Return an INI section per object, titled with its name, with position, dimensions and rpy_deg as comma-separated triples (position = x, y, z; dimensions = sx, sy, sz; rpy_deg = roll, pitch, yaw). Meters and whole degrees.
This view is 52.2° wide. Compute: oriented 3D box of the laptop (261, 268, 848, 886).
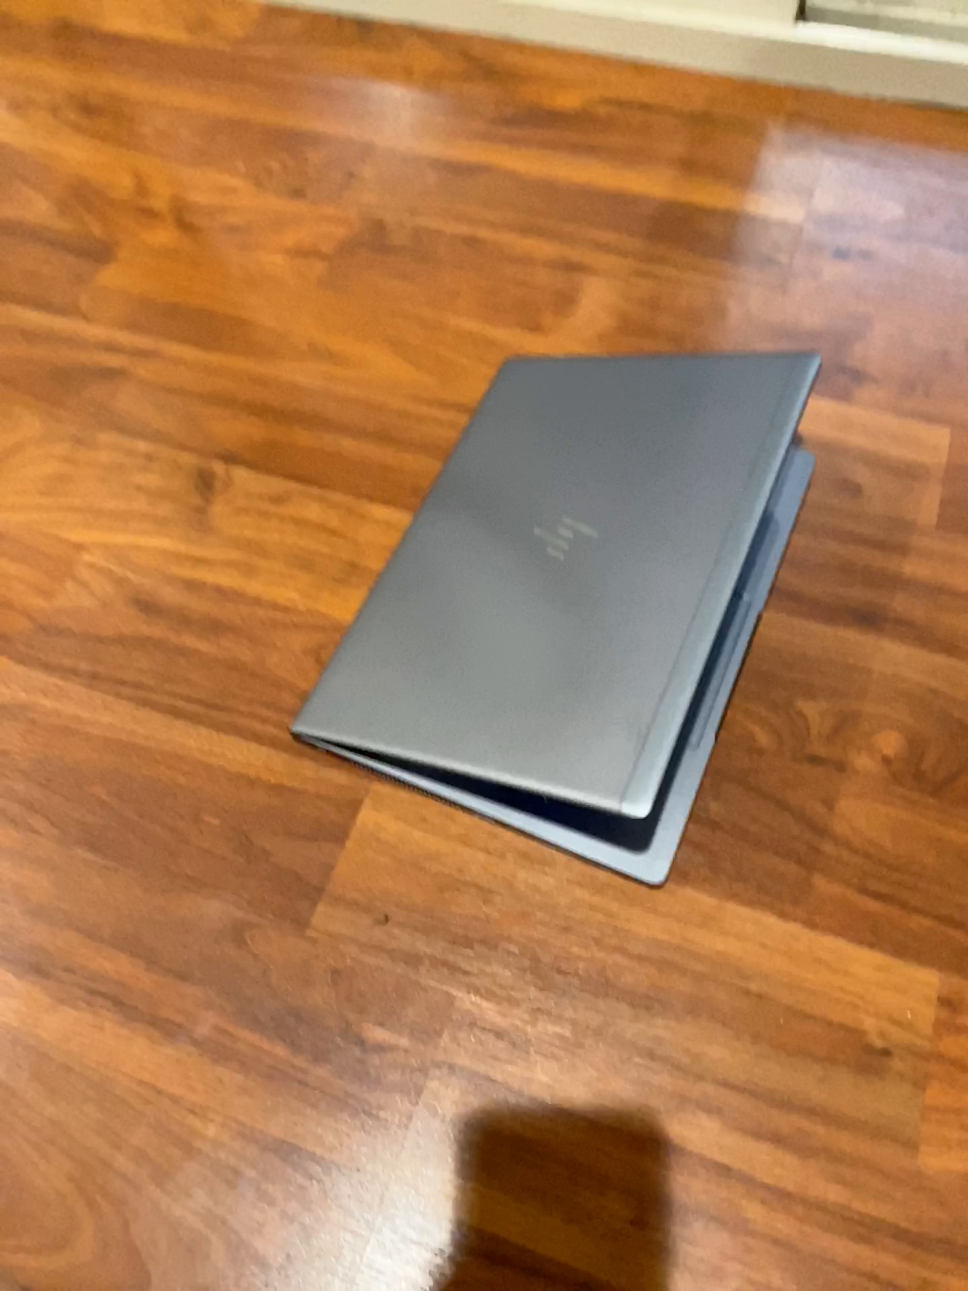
[laptop]
position = 0.055, -0.060, 0.596
dimensions = 0.230, 0.078, 0.325
rpy_deg = 21, 64, 12
